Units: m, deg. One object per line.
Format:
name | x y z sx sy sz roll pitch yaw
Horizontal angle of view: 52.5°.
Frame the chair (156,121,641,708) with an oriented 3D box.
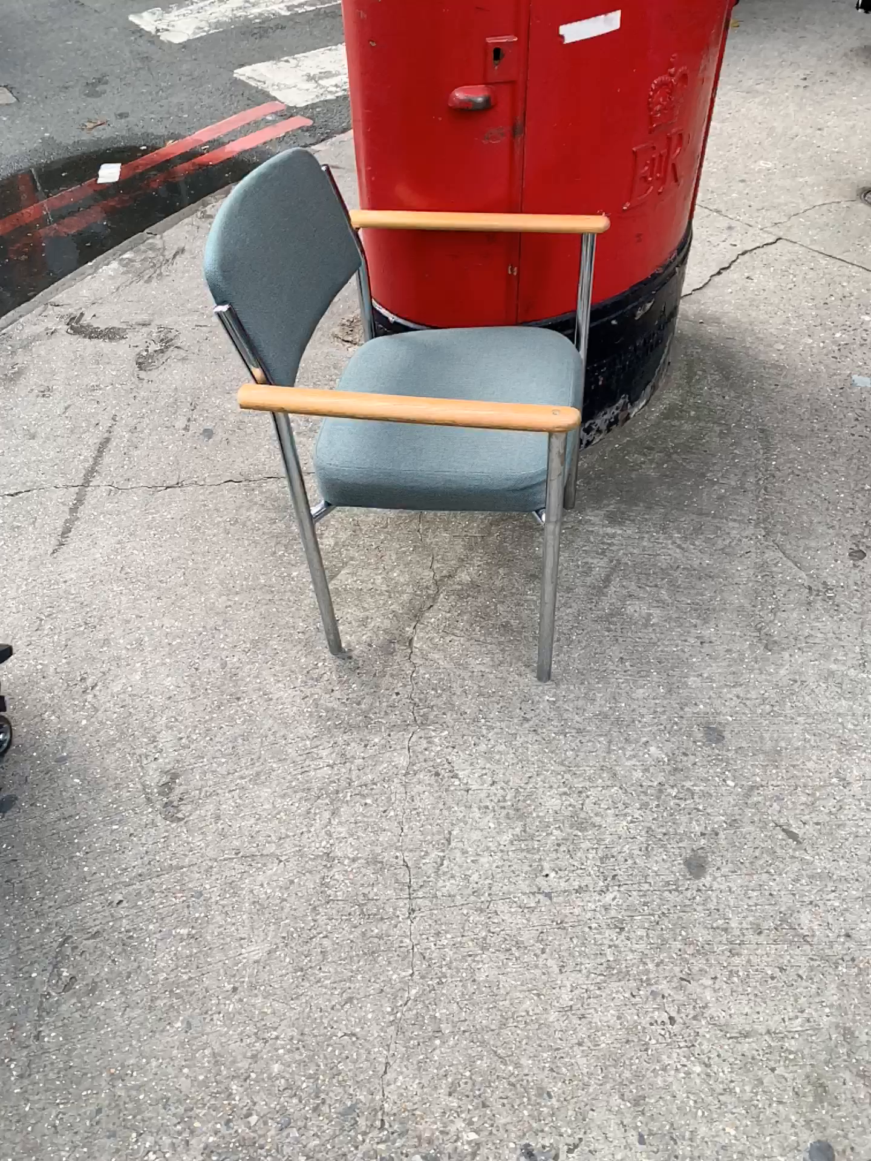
chair | -0.003 -0.270 1.496 0.570 0.739 0.562 7 46 8
